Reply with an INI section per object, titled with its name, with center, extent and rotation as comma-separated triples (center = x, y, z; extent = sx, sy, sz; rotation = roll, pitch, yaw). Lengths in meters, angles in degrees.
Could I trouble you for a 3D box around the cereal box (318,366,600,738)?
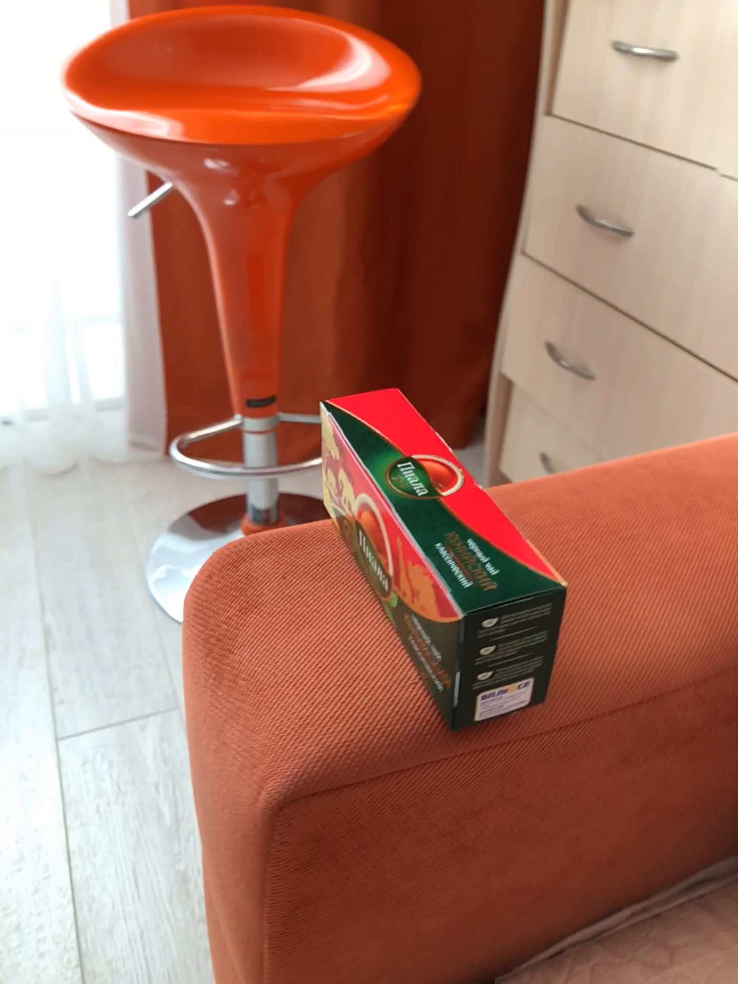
[cereal box]
center = 0.026, 0.014, 0.362
extent = 0.050, 0.069, 0.171
rotation = -9, 35, -18
